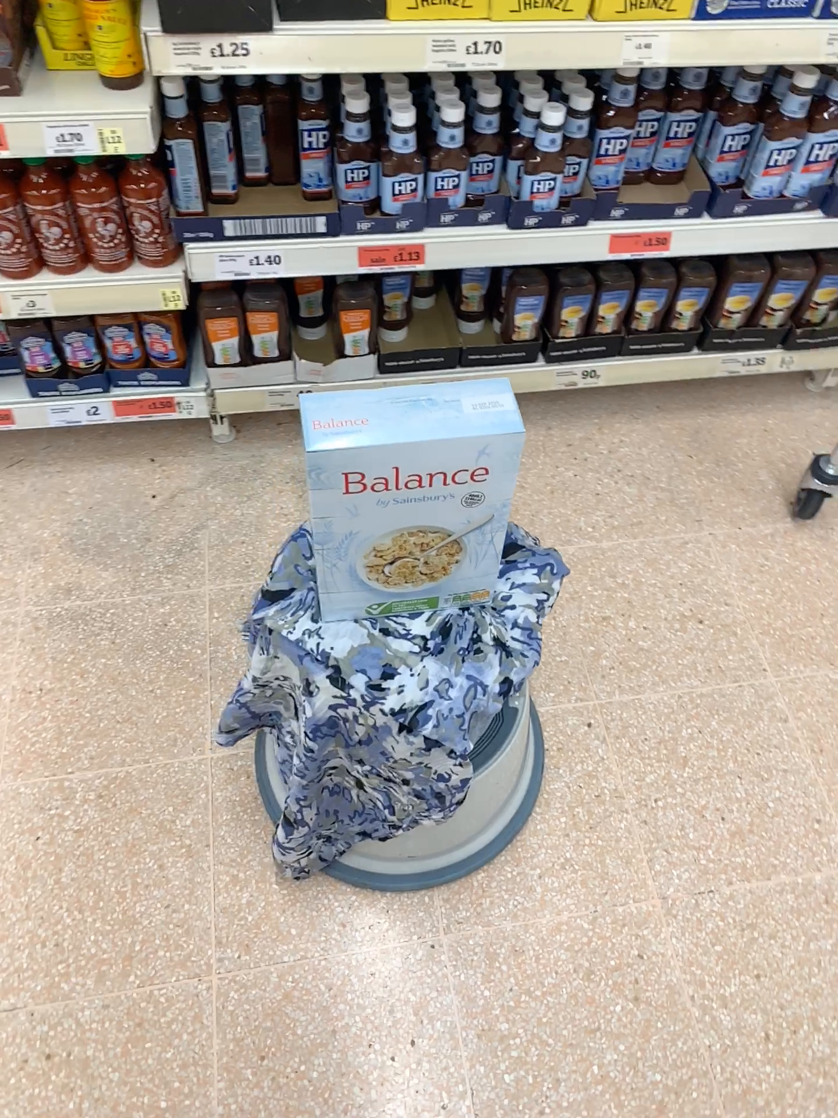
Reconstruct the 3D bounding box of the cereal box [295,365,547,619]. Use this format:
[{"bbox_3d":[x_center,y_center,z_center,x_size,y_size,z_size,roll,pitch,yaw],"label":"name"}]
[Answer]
[{"bbox_3d":[-0.006,-0.055,0.847,0.210,0.278,0.071,-5,54,-7],"label":"cereal box"}]
